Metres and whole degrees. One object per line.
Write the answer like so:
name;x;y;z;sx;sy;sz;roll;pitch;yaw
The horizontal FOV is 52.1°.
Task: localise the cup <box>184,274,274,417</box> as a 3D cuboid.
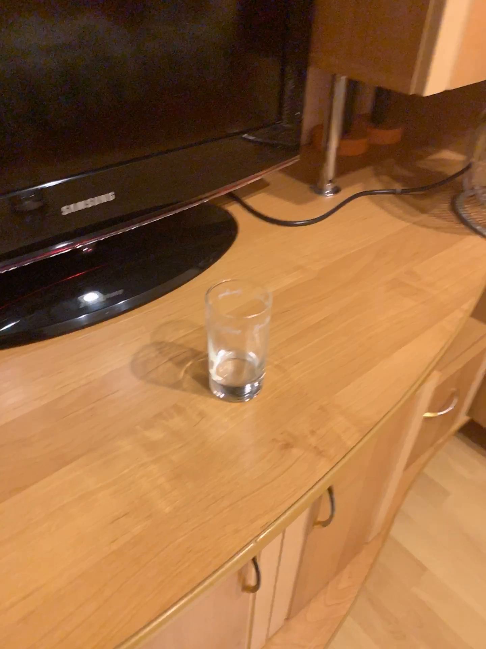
cup;-0.011;0.019;0.425;0.060;0.099;0.061;1;38;-1
